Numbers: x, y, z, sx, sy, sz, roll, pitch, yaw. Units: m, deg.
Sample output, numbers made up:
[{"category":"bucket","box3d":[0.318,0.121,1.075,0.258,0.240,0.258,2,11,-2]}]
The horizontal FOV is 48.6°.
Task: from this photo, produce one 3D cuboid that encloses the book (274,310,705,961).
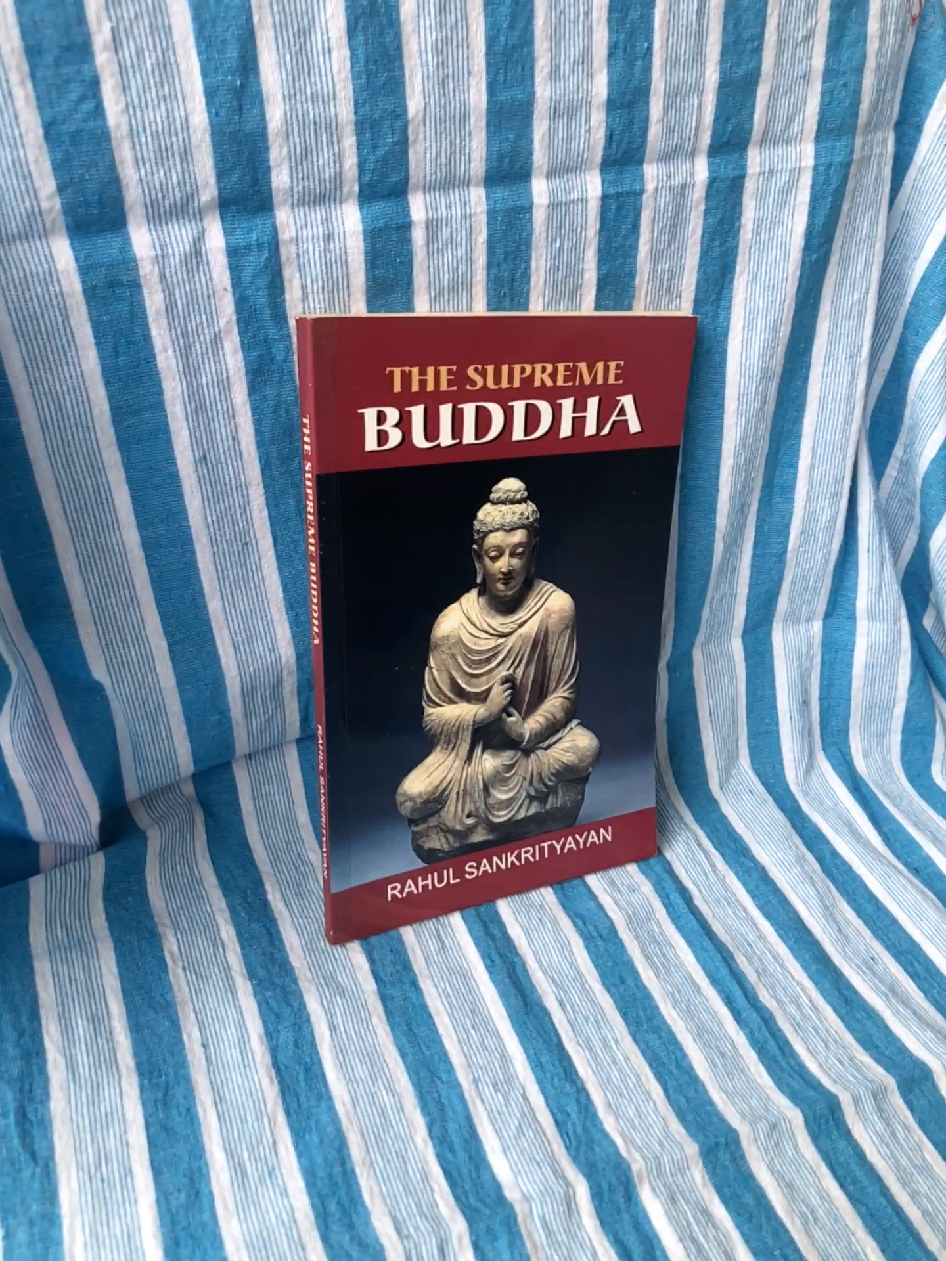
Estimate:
[{"category":"book","box3d":[0.010,-0.001,0.378,0.151,0.219,0.020,-8,20,-26]}]
